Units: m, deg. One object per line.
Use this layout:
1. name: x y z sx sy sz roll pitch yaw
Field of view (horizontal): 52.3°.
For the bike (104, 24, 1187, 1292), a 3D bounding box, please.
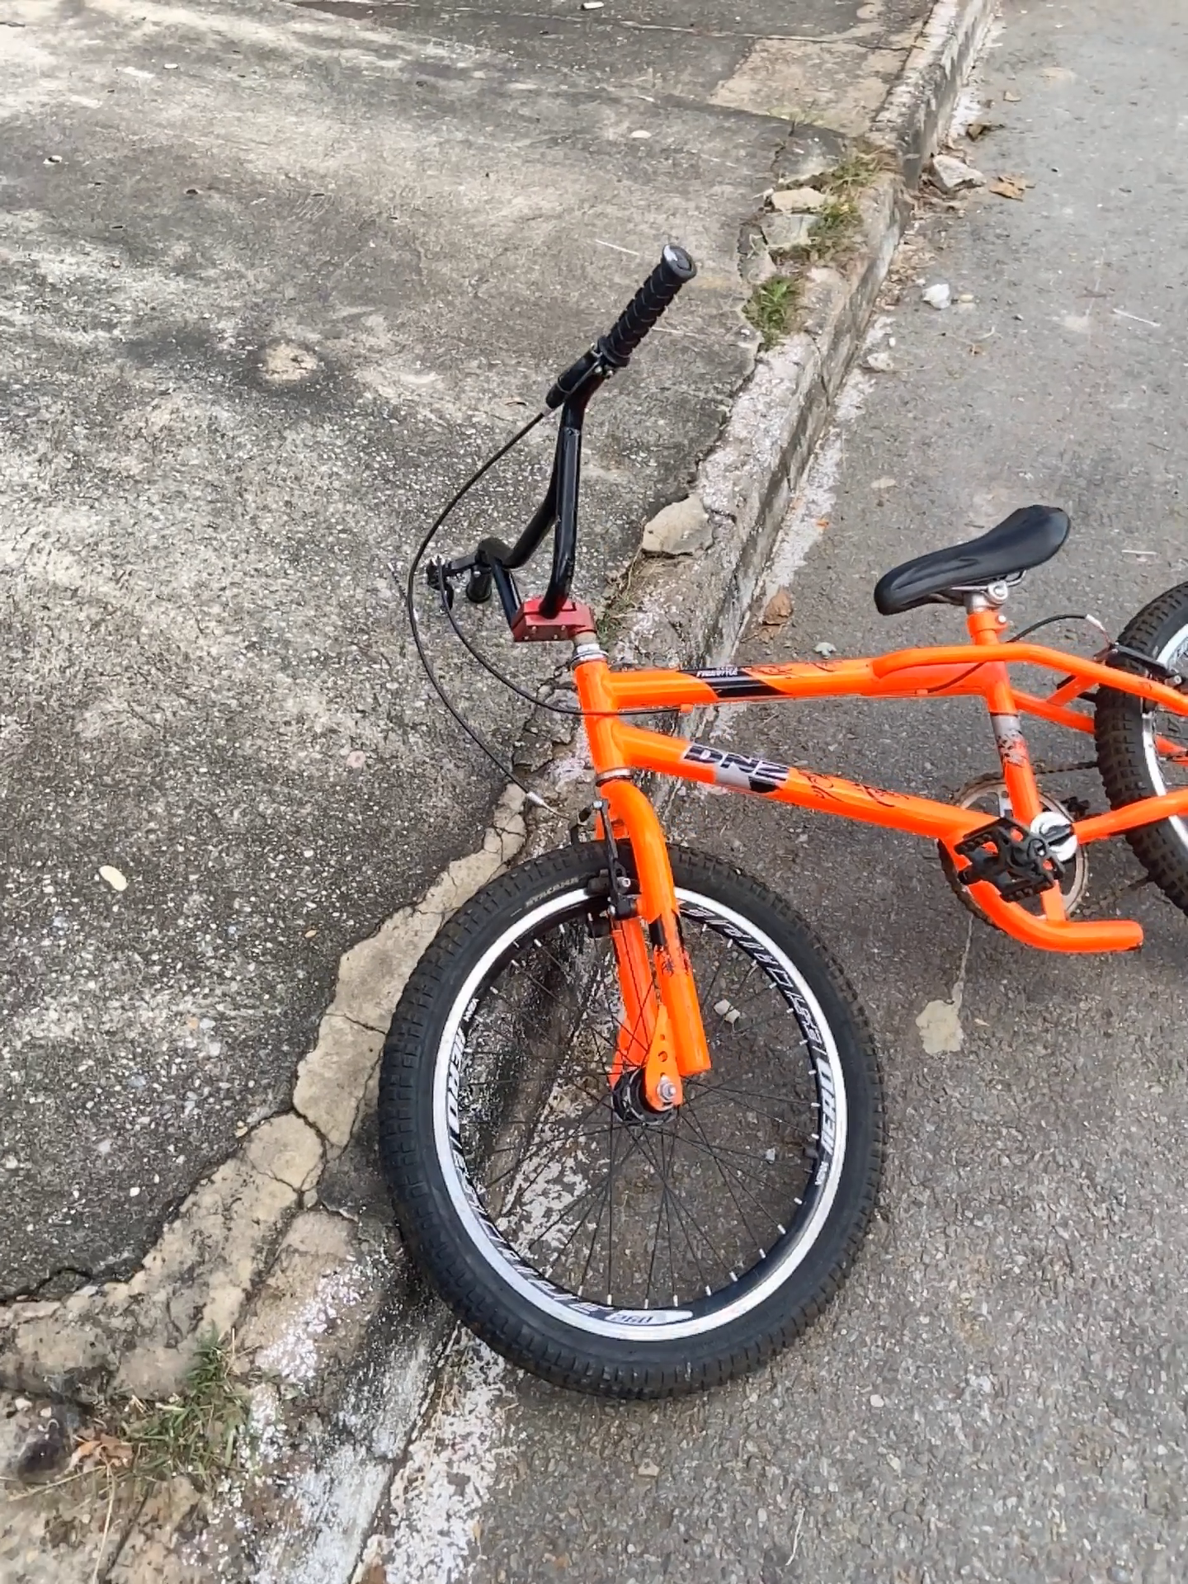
1. bike: 0.327 -0.252 1.374 1.356 0.857 0.748 -18 46 -19
